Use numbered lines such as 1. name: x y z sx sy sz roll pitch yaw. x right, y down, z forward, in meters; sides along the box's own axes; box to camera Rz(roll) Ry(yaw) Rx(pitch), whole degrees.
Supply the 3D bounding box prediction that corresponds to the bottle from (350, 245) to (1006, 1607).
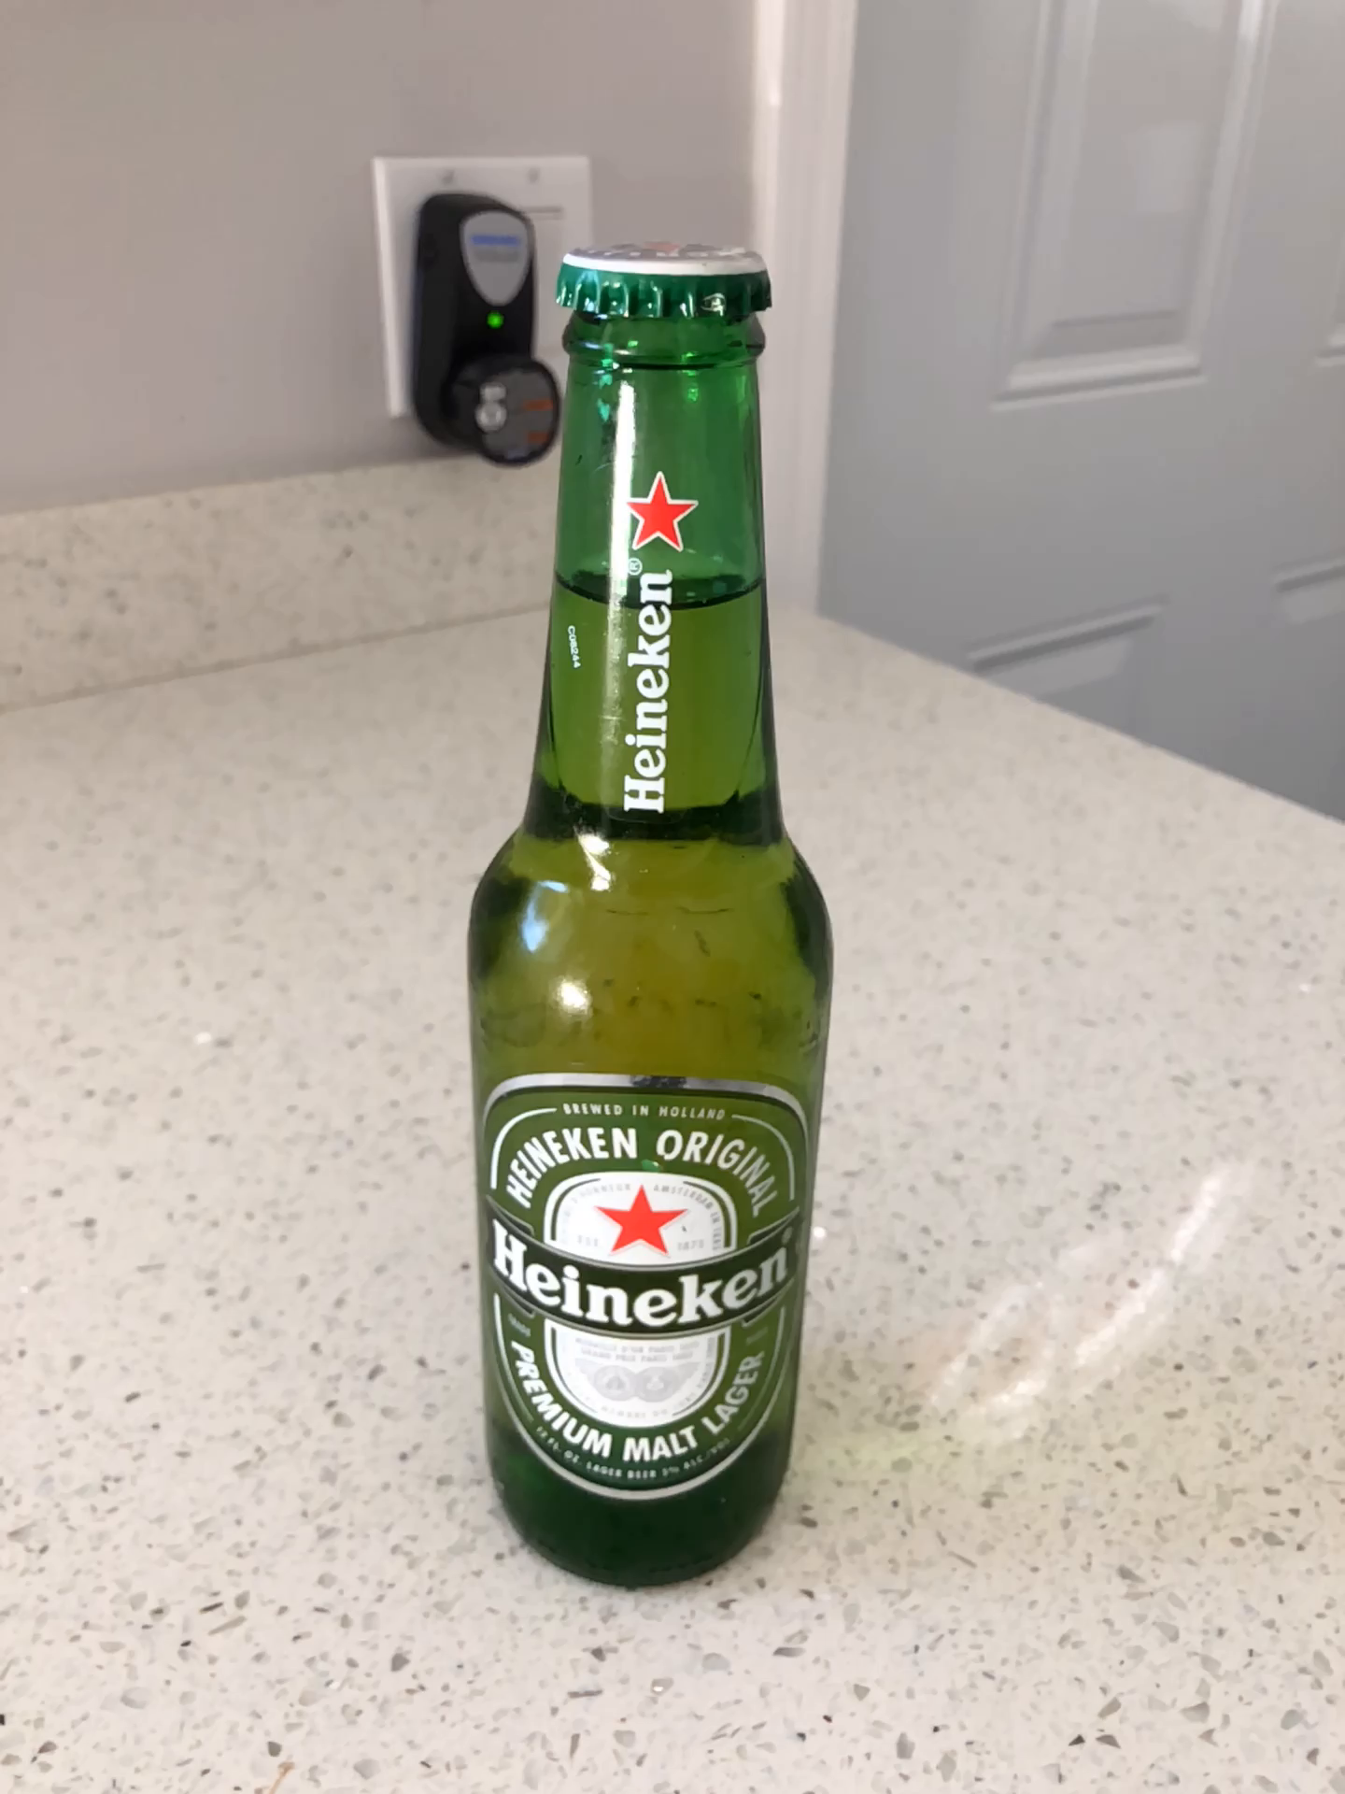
1. bottle: -0.001 0.013 0.241 0.070 0.209 0.070 1 28 0
